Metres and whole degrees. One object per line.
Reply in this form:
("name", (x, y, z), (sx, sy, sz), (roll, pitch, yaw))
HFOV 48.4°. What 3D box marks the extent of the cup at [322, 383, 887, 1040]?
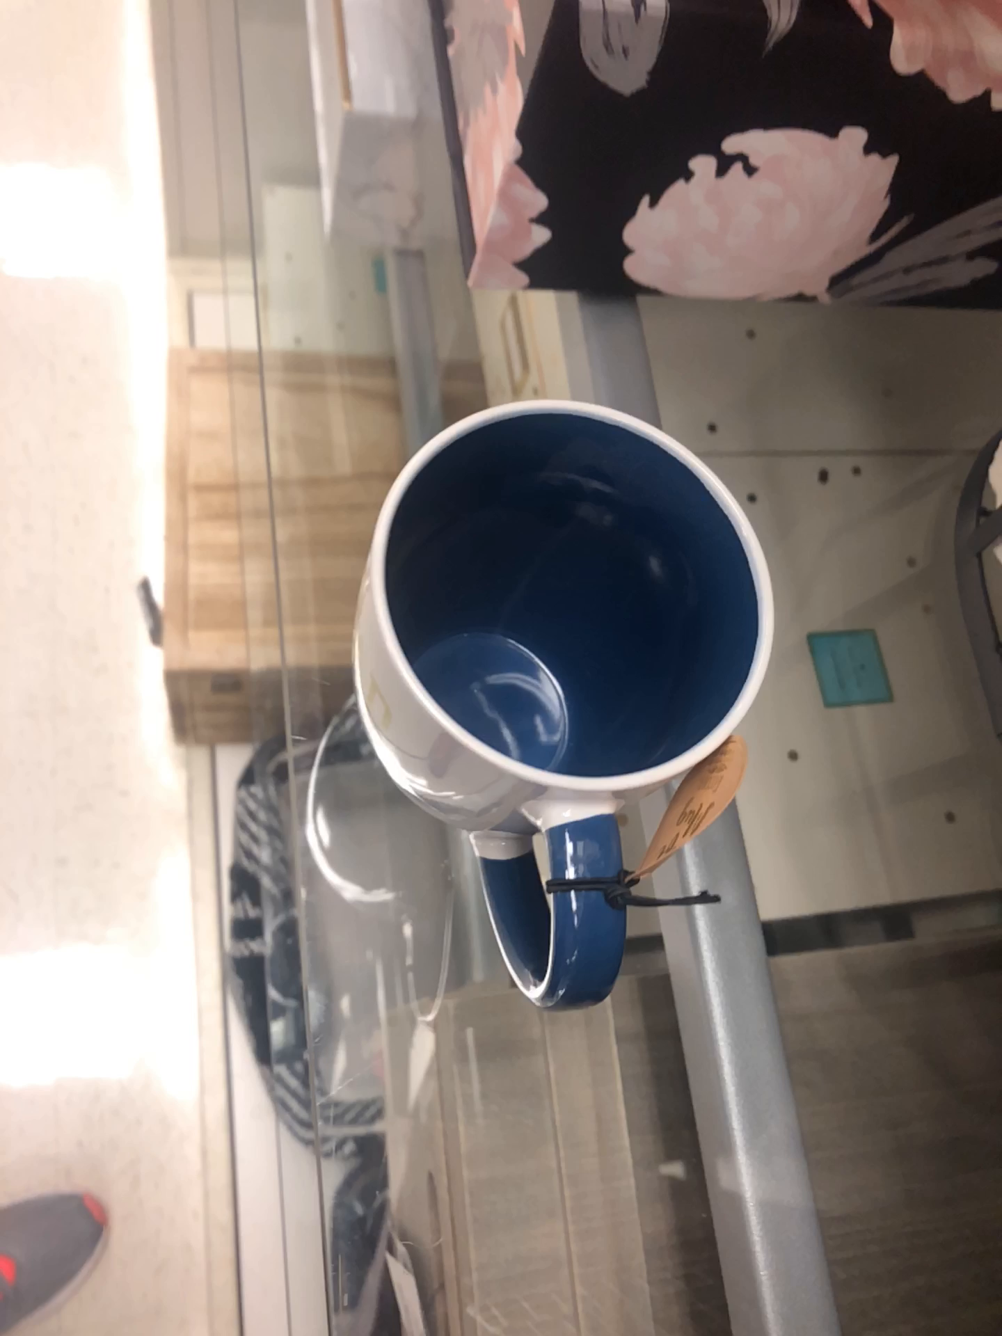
("cup", (0.014, 0.017, 0.305), (0.116, 0.096, 0.150), (0, 70, -13))
